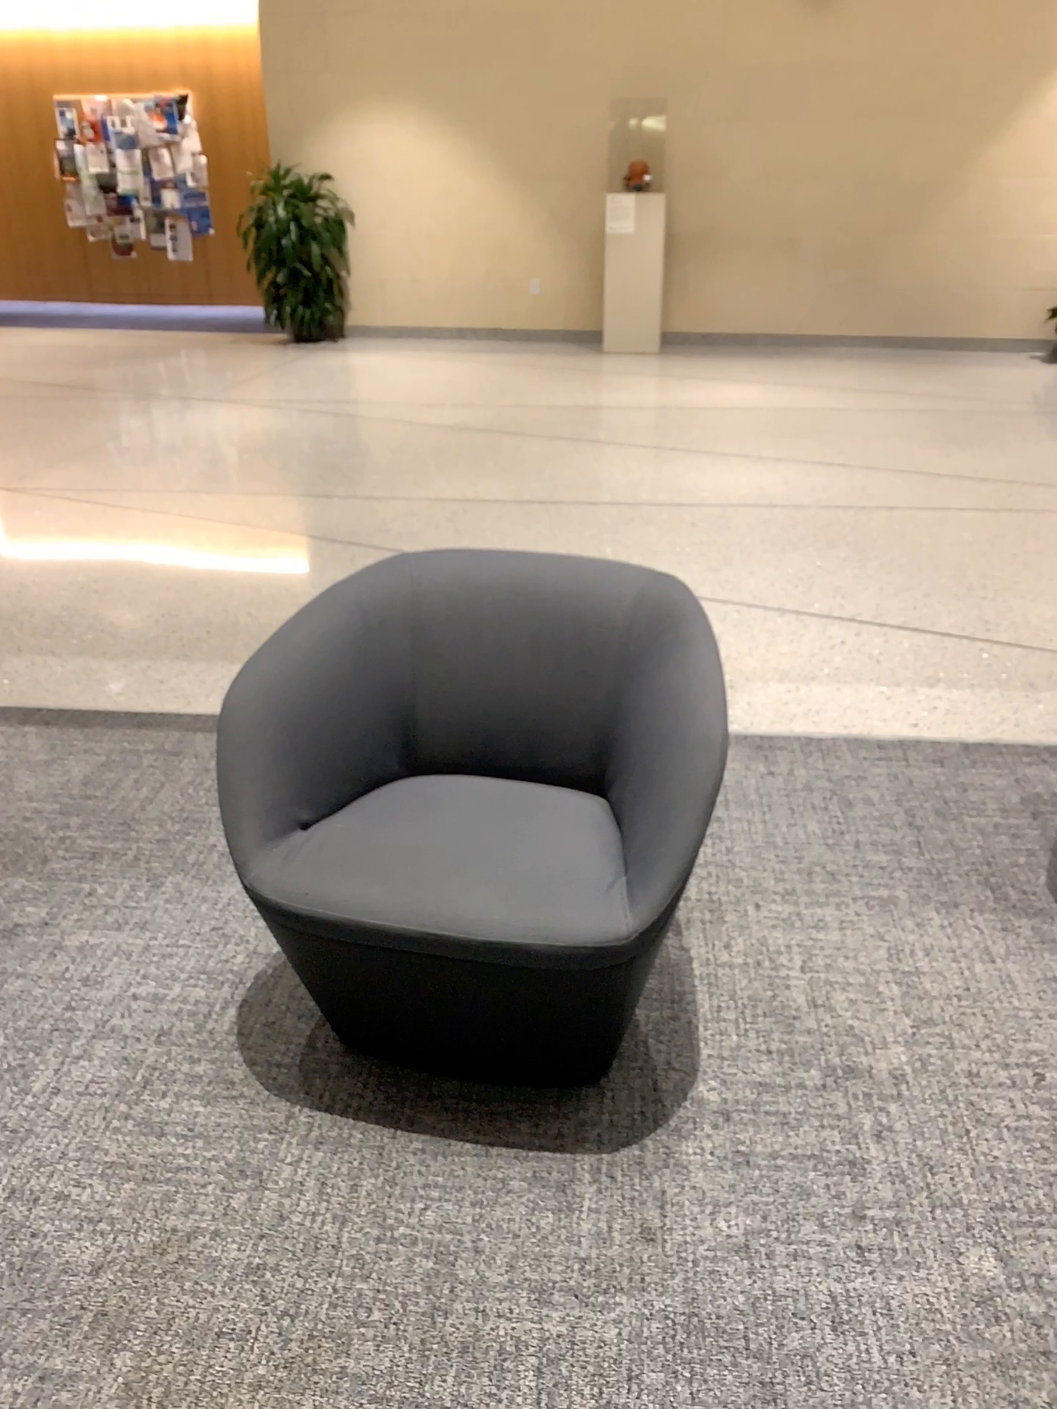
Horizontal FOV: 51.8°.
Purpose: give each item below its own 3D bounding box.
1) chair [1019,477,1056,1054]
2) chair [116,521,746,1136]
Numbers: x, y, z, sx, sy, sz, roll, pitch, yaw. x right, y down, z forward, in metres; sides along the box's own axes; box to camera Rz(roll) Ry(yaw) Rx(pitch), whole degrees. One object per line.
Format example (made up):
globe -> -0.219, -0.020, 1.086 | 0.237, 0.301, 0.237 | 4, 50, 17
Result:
chair -> 1.346, 0.041, 1.903 | 0.769, 0.669, 0.635 | 9, 27, 18
chair -> -0.081, 0.139, 1.736 | 0.778, 0.659, 0.636 | 5, 26, 10
